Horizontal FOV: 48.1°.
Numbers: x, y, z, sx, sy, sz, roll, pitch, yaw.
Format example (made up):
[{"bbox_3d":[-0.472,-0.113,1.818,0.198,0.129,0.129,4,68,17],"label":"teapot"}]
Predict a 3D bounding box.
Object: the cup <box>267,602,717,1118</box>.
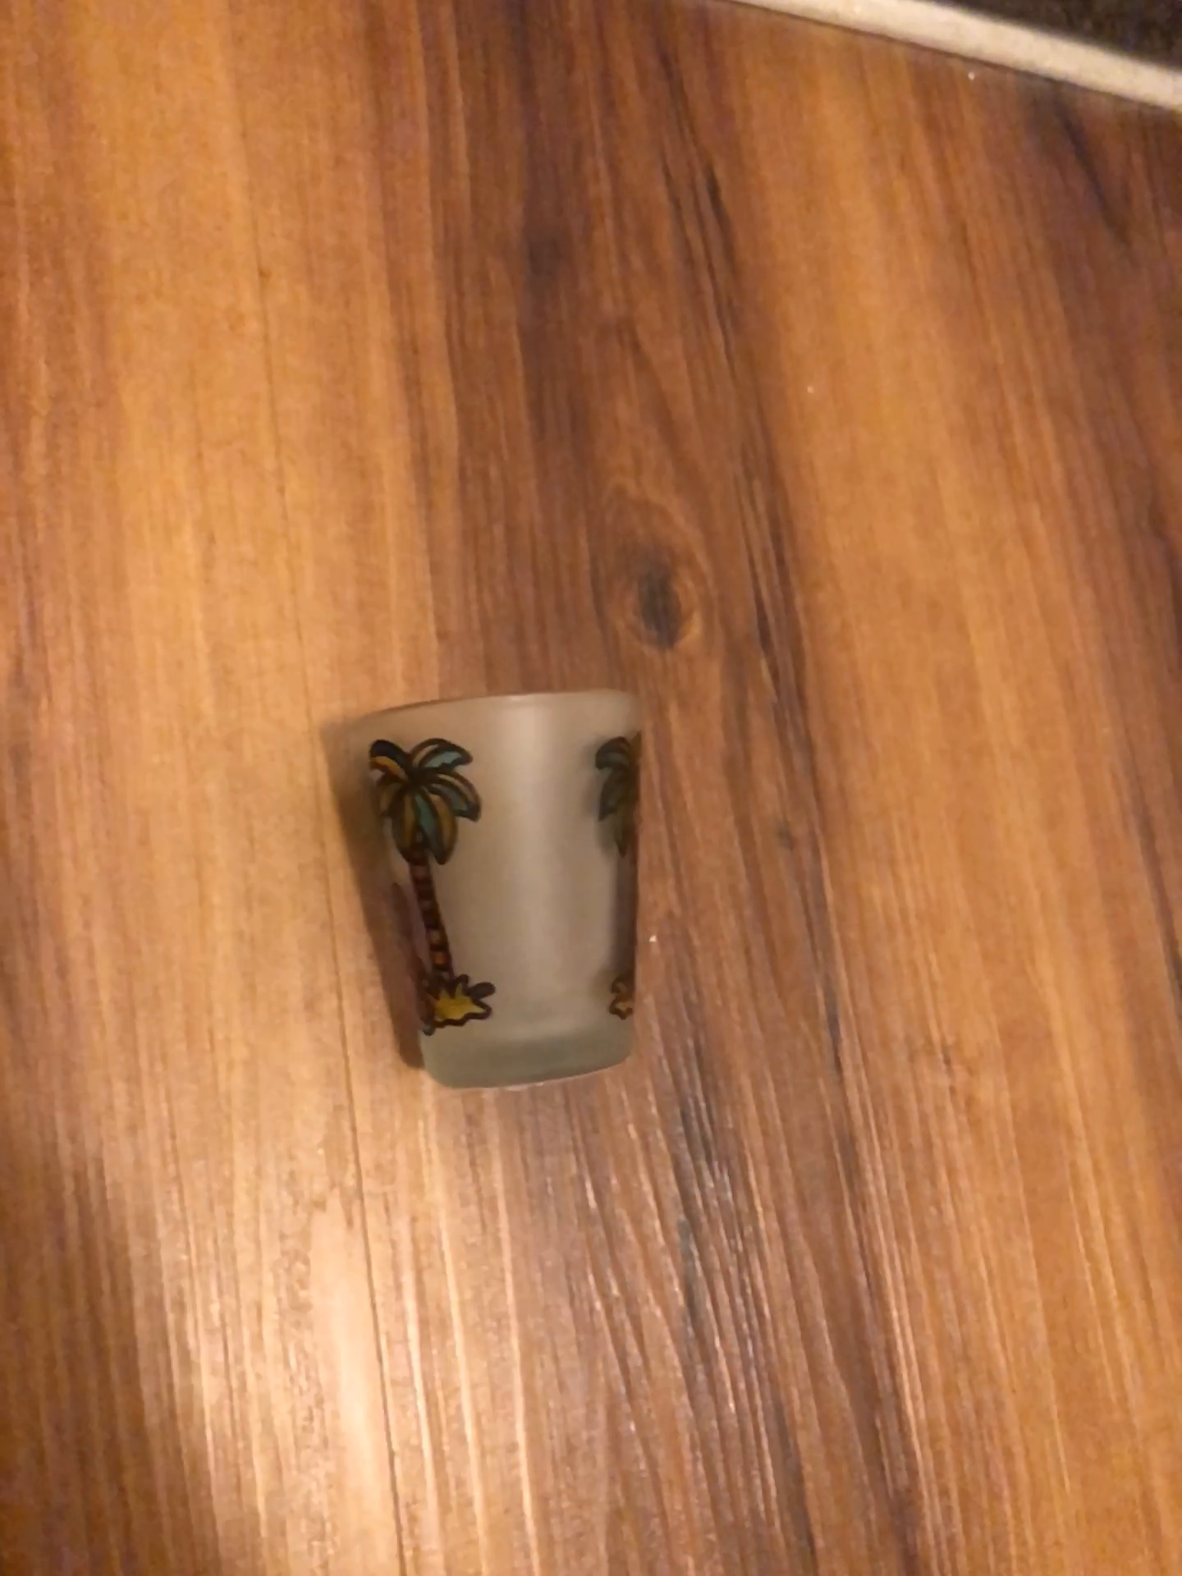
[{"bbox_3d":[-0.018,0.012,0.207,0.050,0.045,0.070,-4,80,-25],"label":"cup"}]
